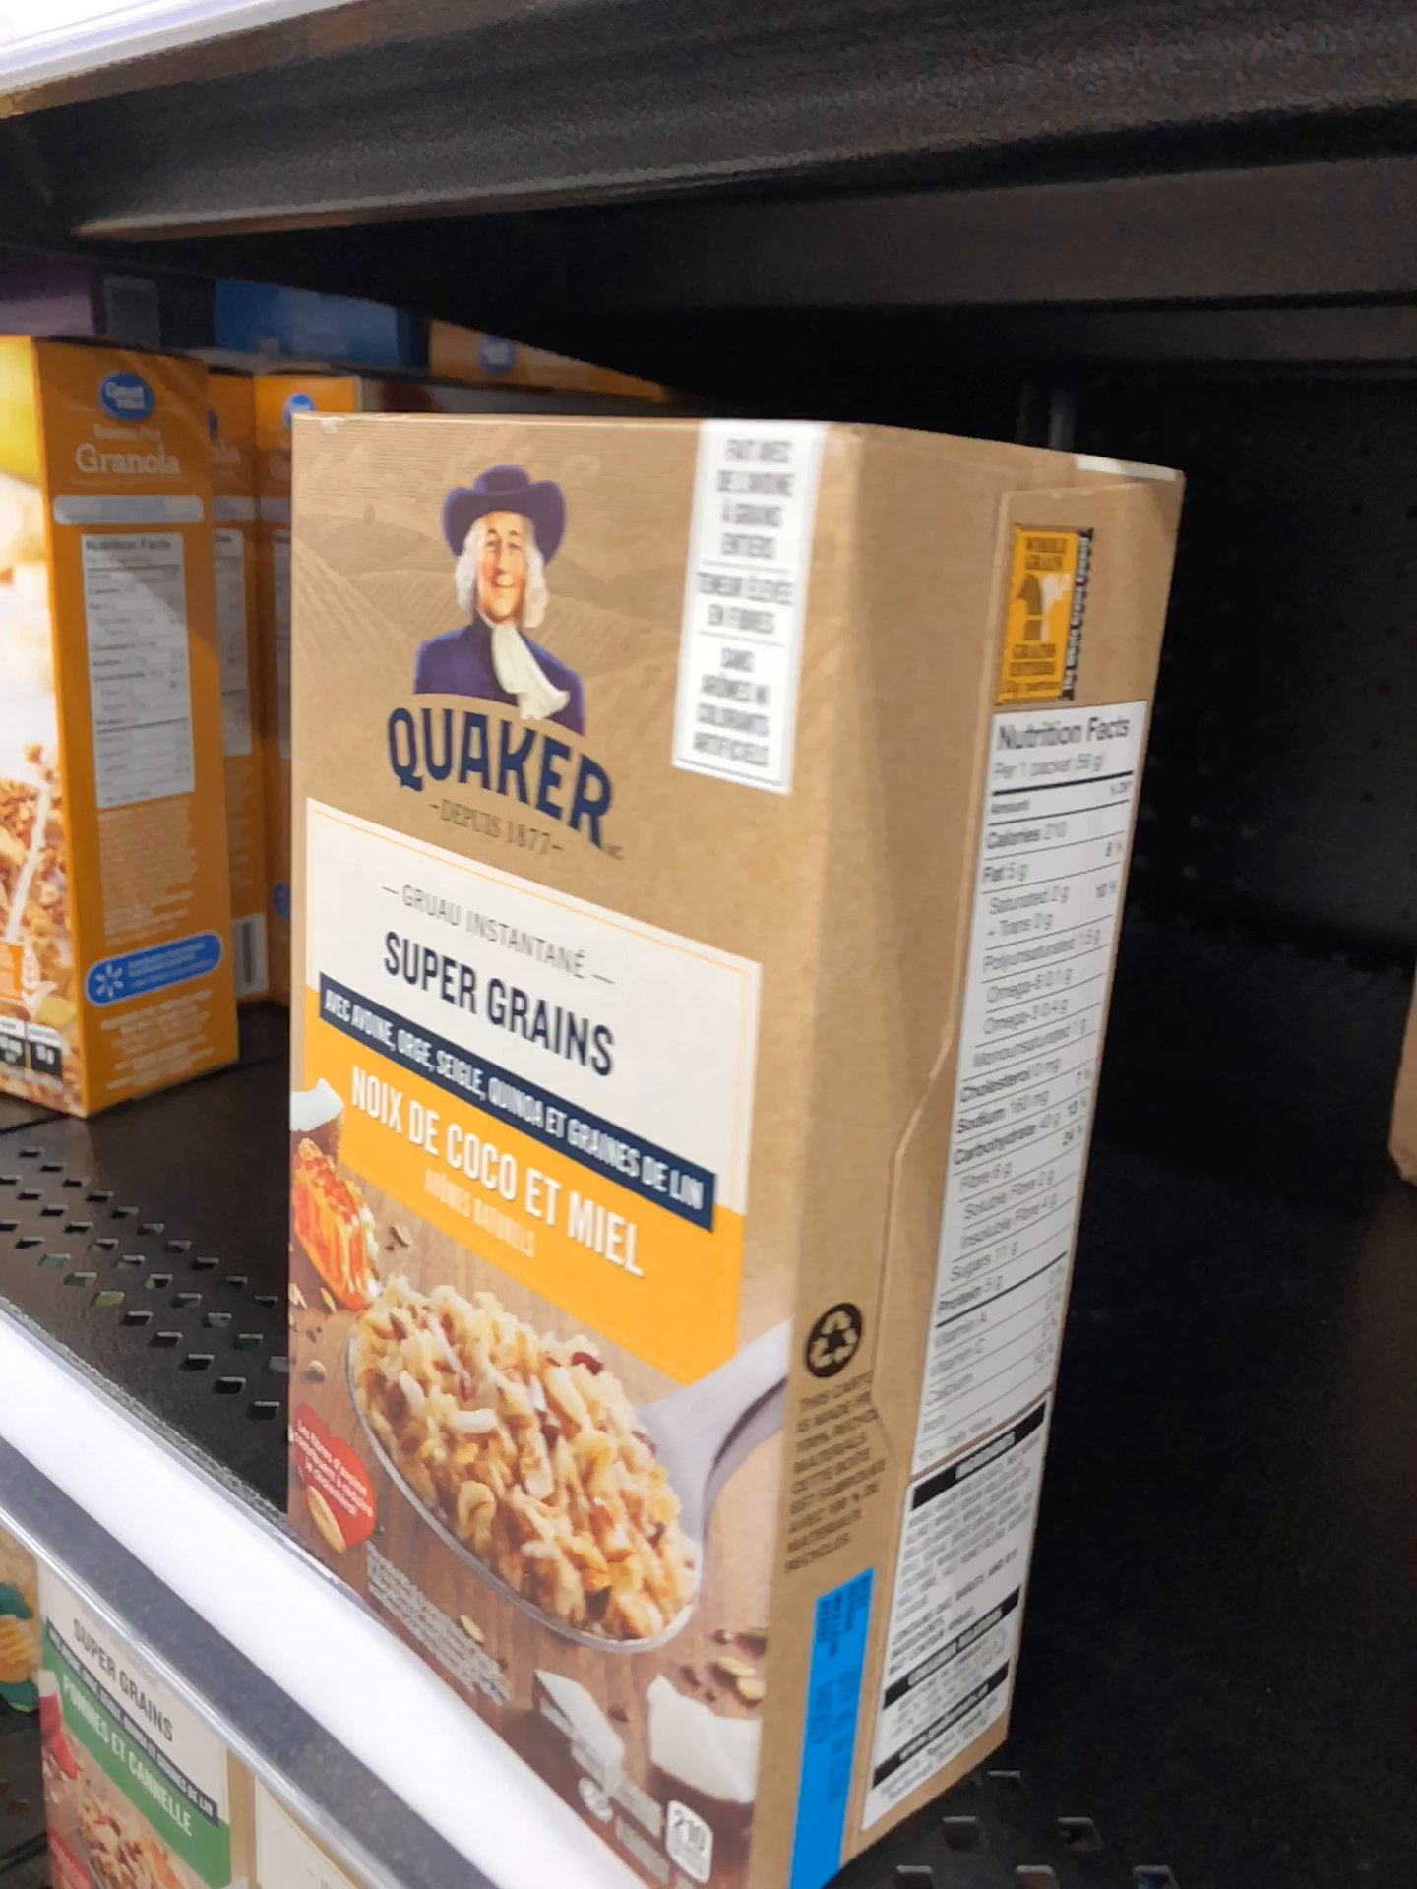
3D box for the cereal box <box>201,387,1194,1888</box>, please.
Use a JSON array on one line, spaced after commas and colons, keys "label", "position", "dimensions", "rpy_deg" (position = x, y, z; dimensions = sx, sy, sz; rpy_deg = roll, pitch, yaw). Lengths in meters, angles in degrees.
[{"label": "cereal box", "position": [-0.013, 0.023, 0.240], "dimensions": [0.060, 0.199, 0.130], "rpy_deg": [-13, 23, -43]}]
